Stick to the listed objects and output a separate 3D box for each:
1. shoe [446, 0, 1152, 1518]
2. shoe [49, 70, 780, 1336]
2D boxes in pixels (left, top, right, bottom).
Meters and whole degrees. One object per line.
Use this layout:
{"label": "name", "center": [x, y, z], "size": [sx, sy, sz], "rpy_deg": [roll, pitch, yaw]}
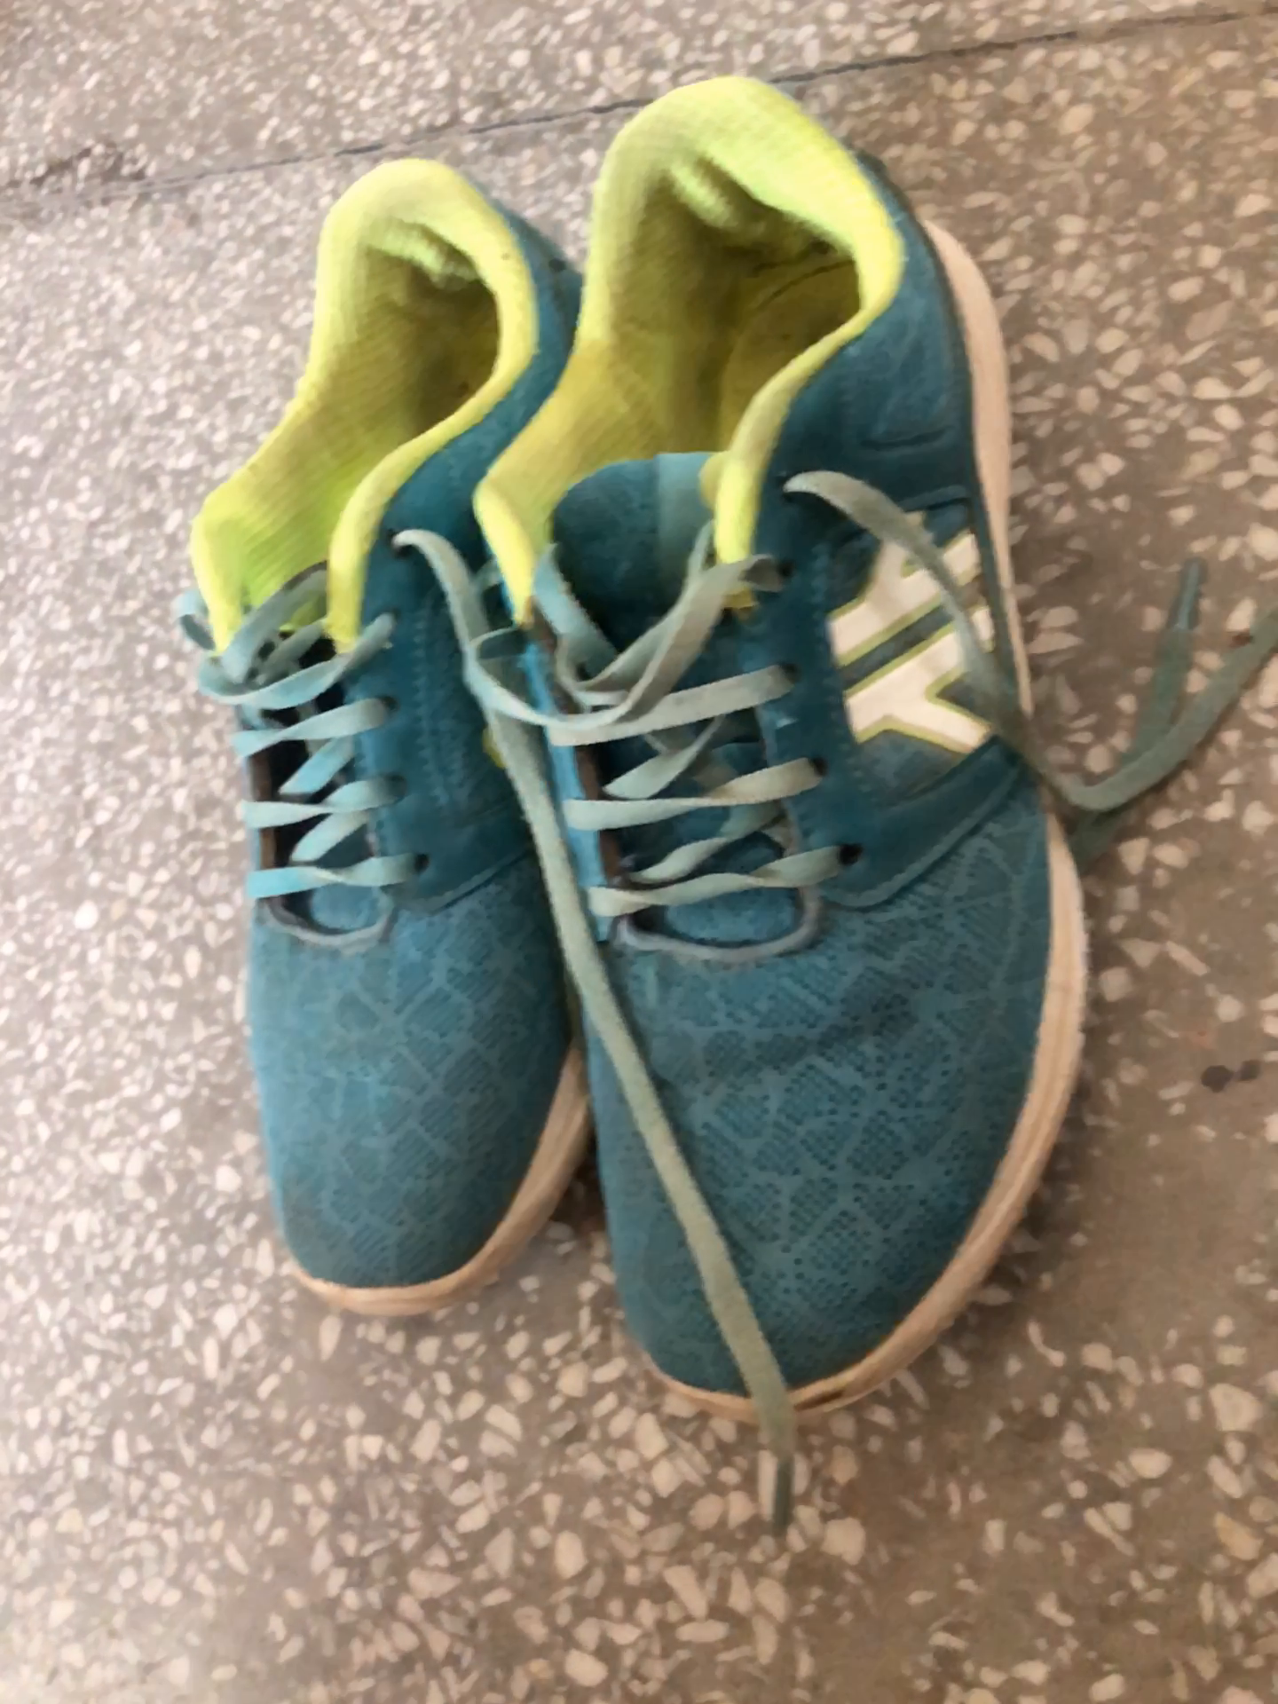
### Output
{"label": "shoe", "center": [0.035, -0.022, 0.276], "size": [0.100, 0.080, 0.250], "rpy_deg": [-4, 78, 31]}
{"label": "shoe", "center": [-0.039, -0.027, 0.310], "size": [0.090, 0.080, 0.240], "rpy_deg": [-2, 73, 31]}
